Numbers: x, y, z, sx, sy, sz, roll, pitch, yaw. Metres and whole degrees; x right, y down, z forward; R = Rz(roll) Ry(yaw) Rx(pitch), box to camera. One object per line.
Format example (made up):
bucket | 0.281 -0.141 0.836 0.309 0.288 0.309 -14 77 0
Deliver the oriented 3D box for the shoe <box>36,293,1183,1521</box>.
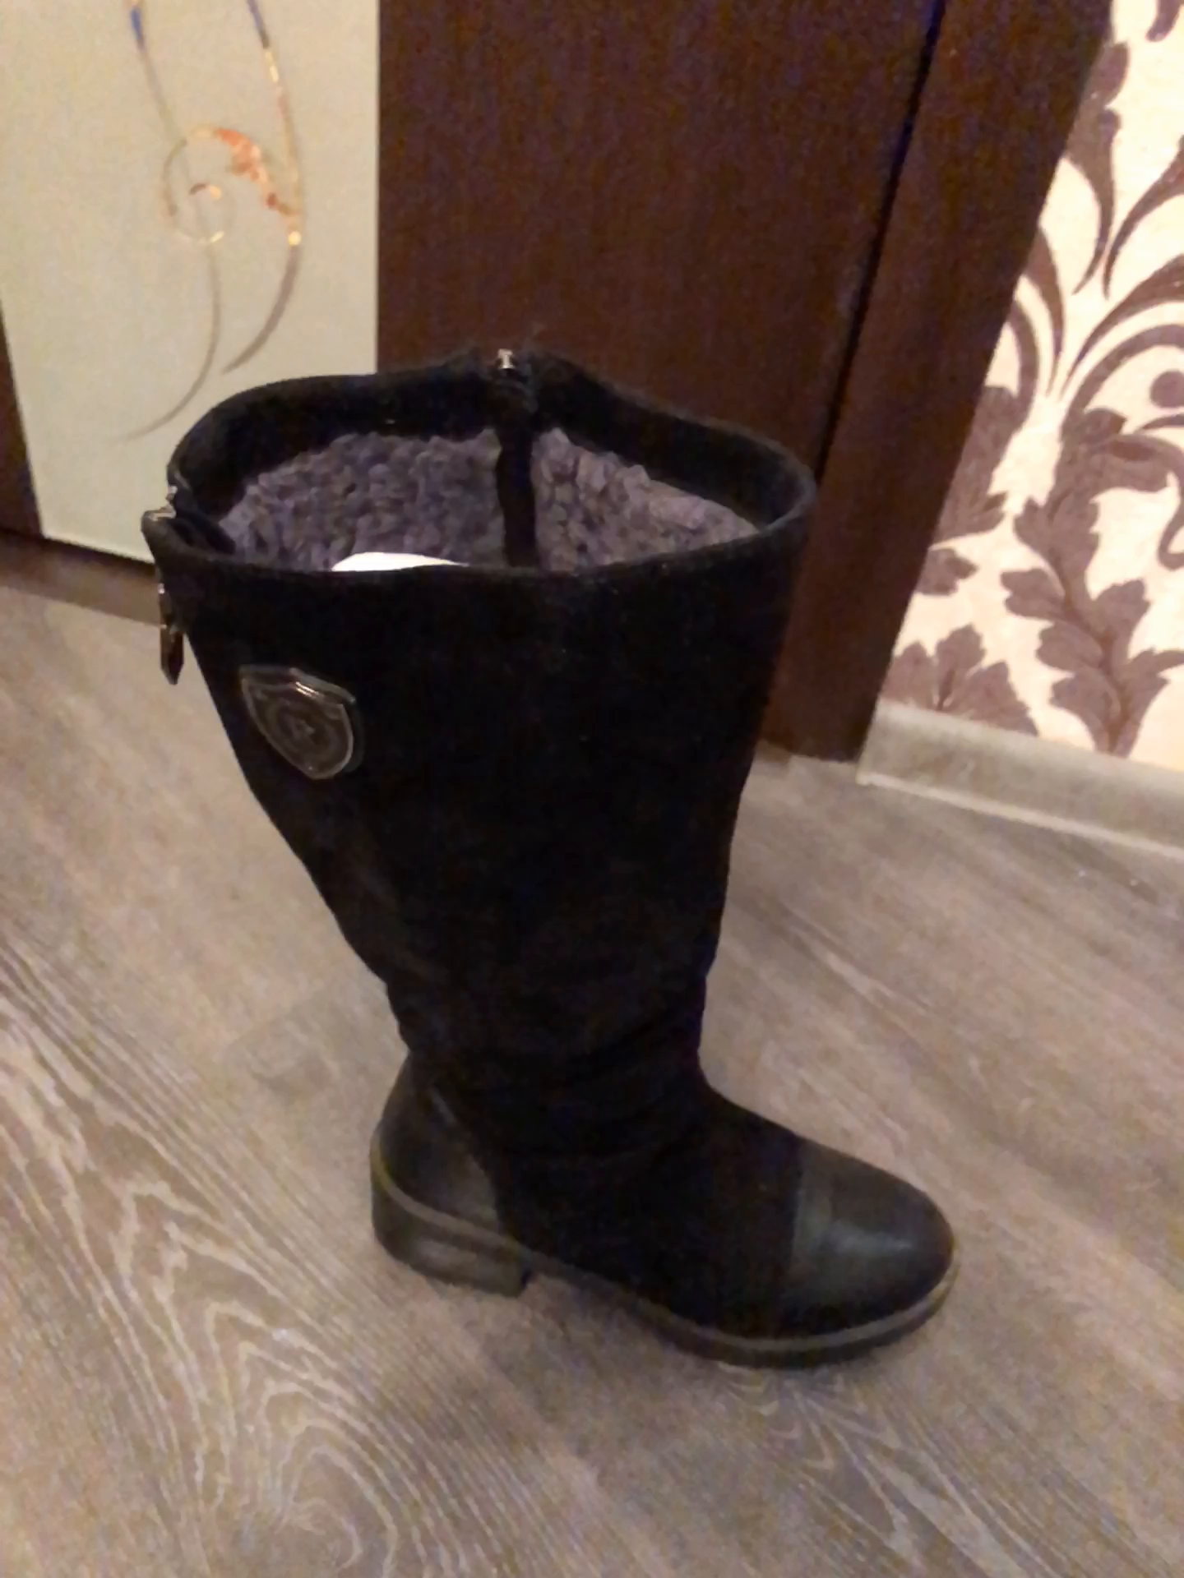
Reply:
shoe | 0.026 0.069 0.408 0.290 0.358 0.121 10 41 1
